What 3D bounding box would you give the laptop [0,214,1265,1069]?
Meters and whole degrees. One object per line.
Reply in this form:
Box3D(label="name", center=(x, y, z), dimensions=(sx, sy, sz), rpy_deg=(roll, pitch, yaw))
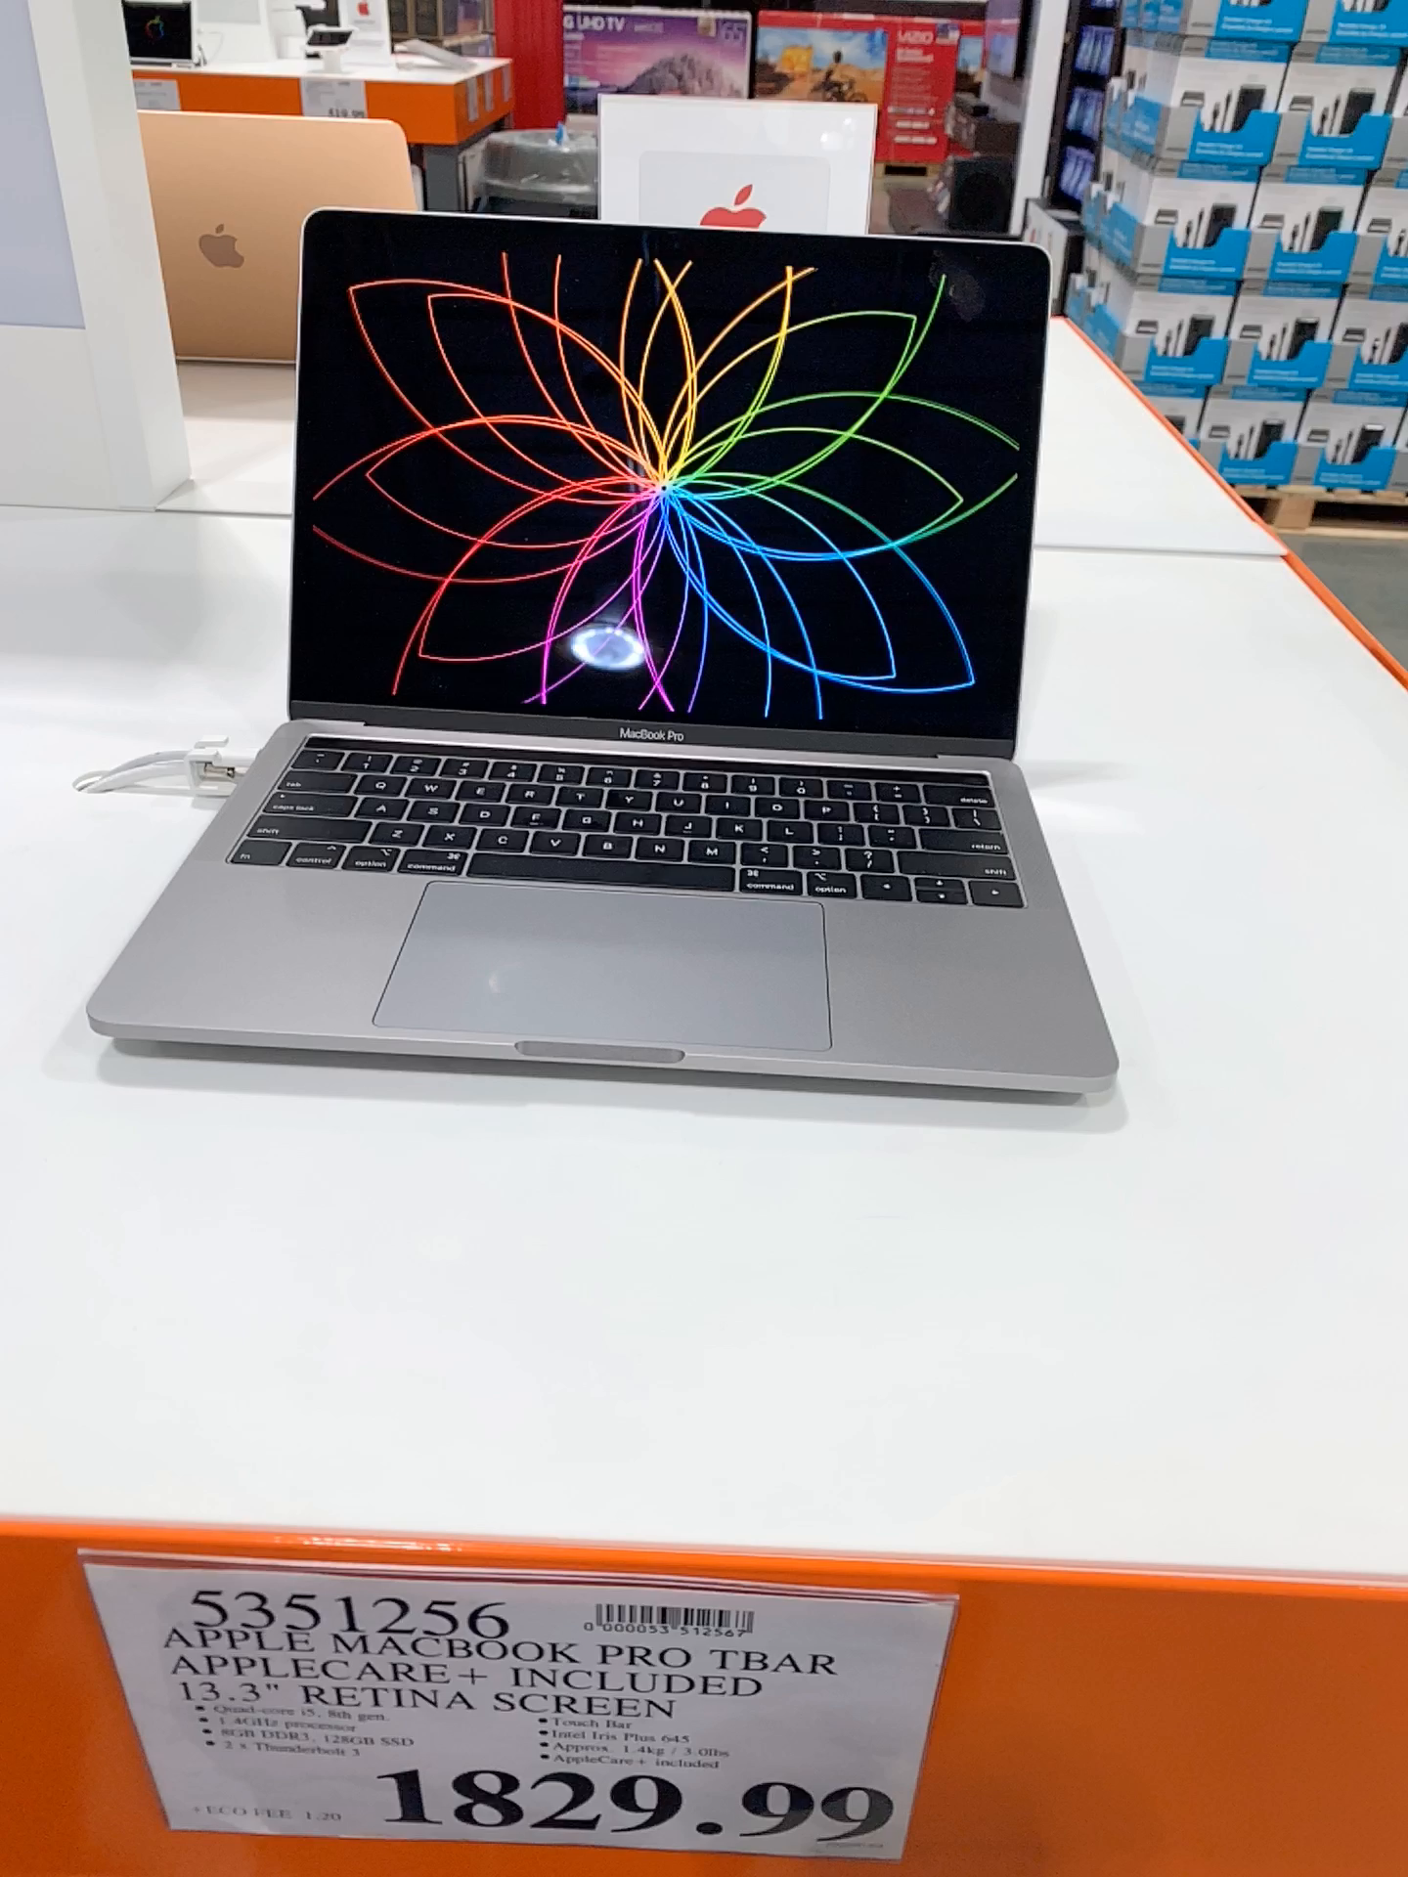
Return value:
Box3D(label="laptop", center=(-0.020, -0.125, 0.484), dimensions=(0.289, 0.165, 0.308), rpy_deg=(3, 33, 1))
